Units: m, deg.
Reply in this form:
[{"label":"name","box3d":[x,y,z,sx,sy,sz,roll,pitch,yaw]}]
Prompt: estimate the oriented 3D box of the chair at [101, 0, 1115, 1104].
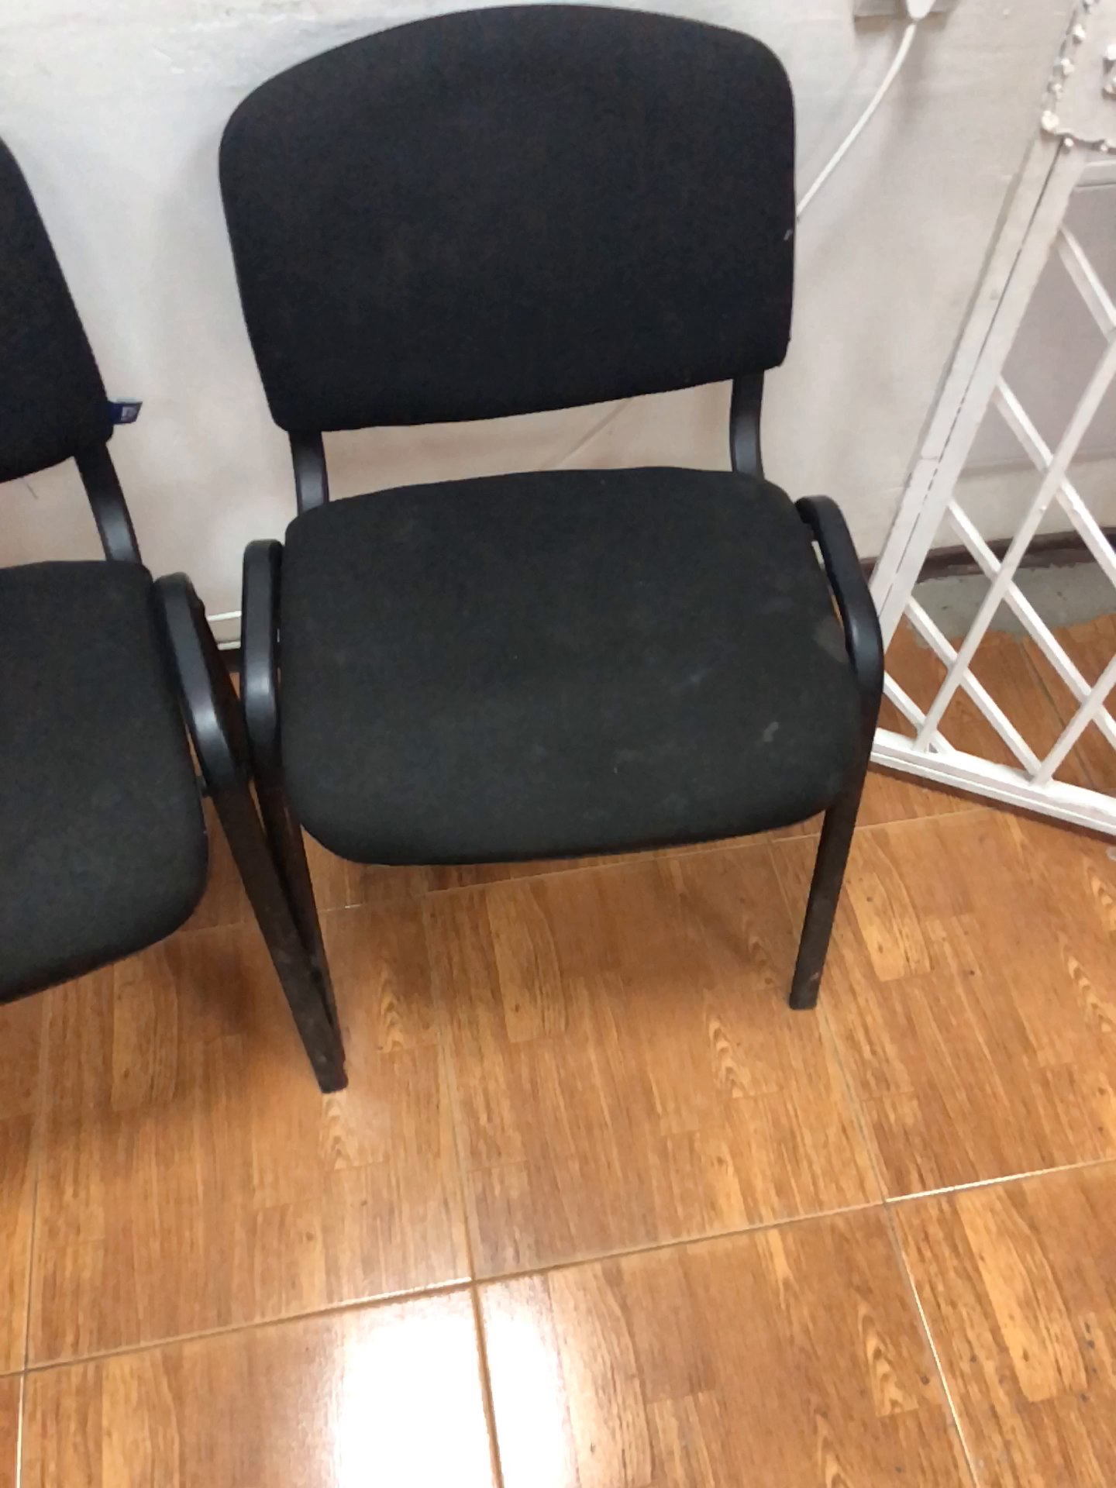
[{"label":"chair","box3d":[0.005,-0.113,1.011,0.520,0.748,0.511,-7,56,-7]}]
